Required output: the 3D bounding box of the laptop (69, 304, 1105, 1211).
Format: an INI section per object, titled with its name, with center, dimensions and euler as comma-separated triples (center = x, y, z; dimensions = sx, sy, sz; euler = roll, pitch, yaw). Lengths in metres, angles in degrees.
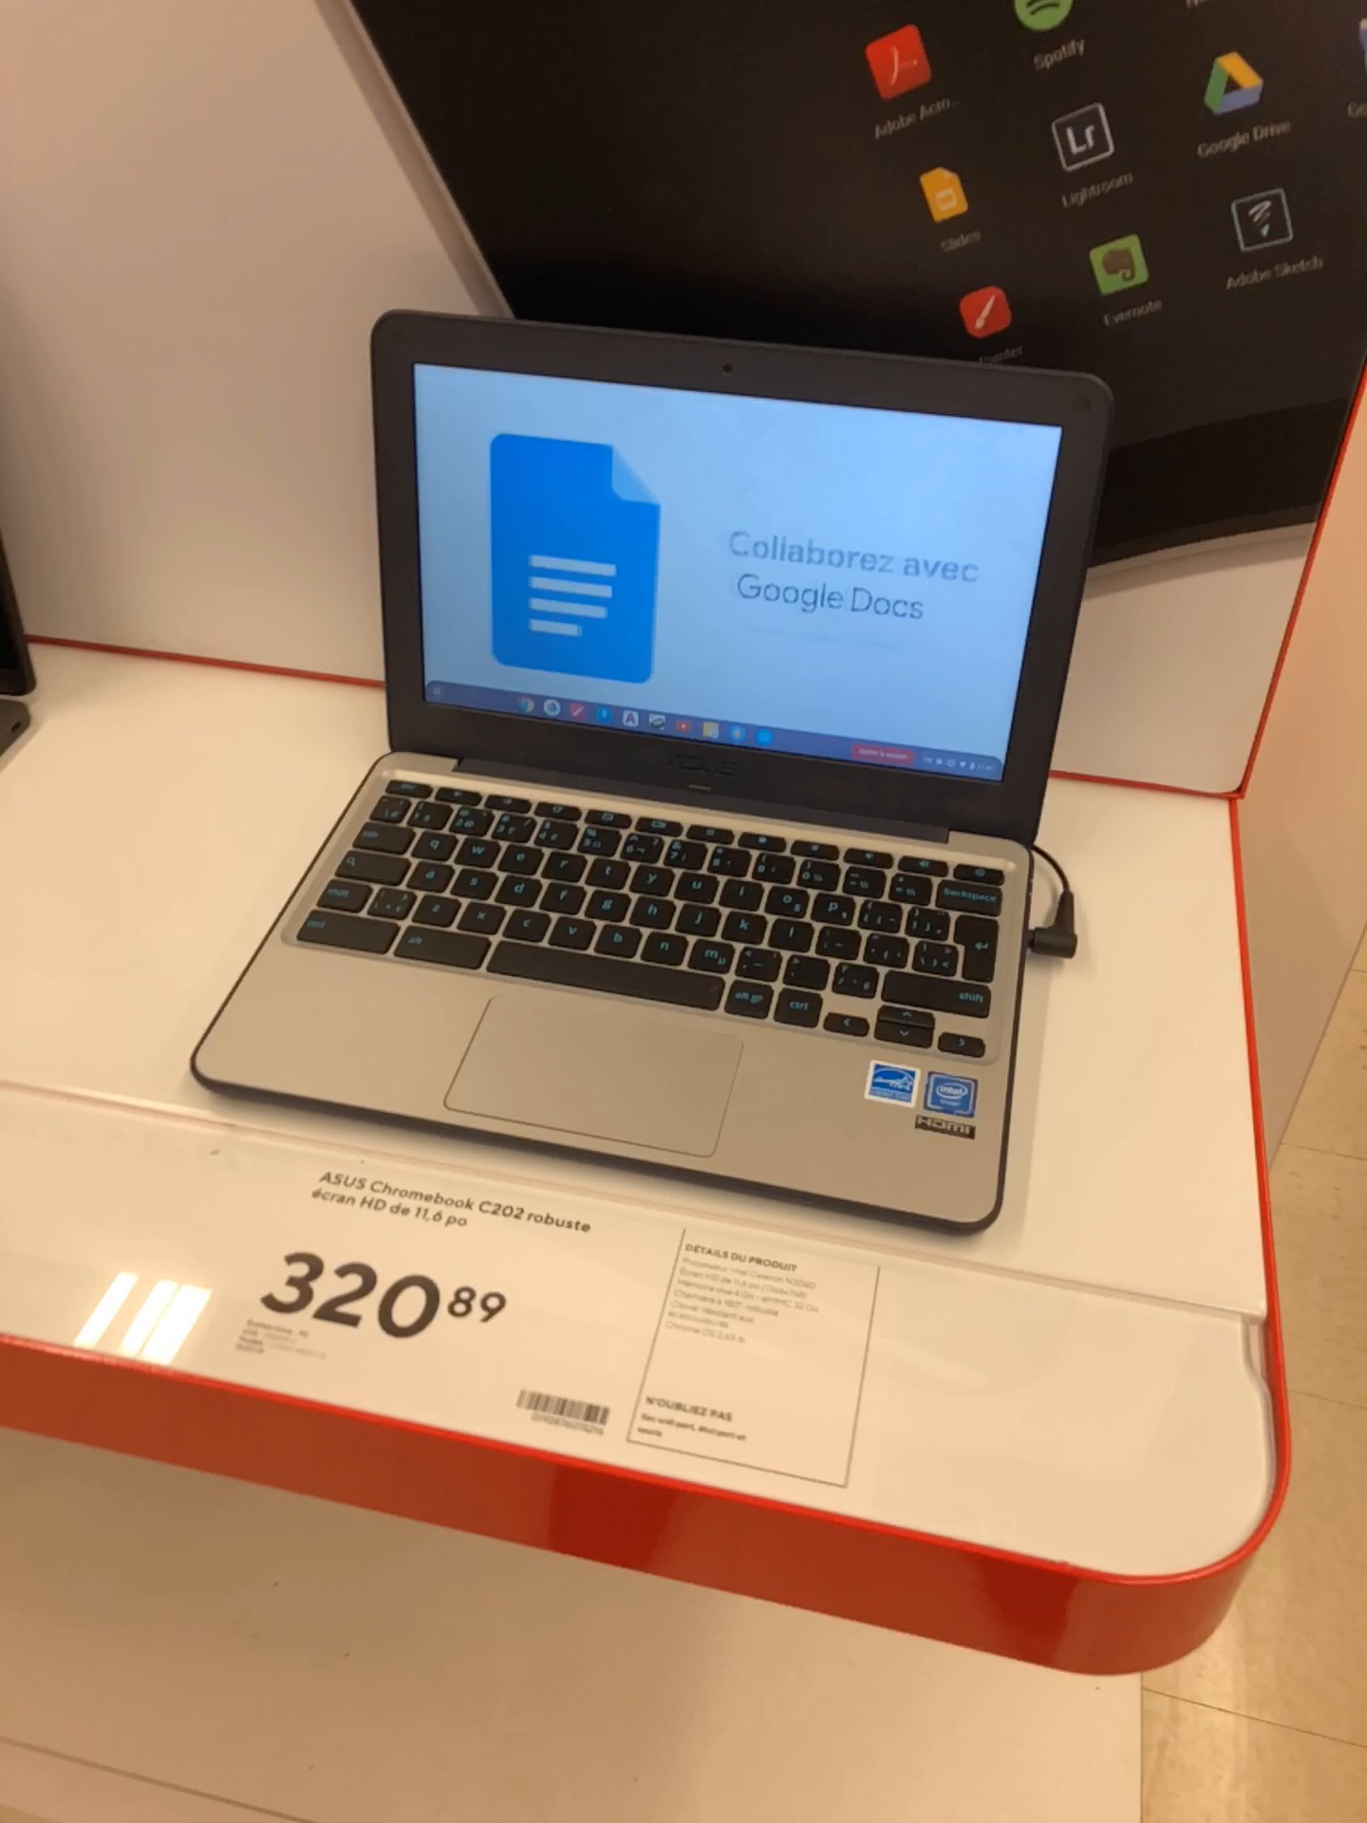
[laptop]
center = -0.010, -0.068, 0.532
dimensions = 0.274, 0.174, 0.231
euler = 9, 44, 9
